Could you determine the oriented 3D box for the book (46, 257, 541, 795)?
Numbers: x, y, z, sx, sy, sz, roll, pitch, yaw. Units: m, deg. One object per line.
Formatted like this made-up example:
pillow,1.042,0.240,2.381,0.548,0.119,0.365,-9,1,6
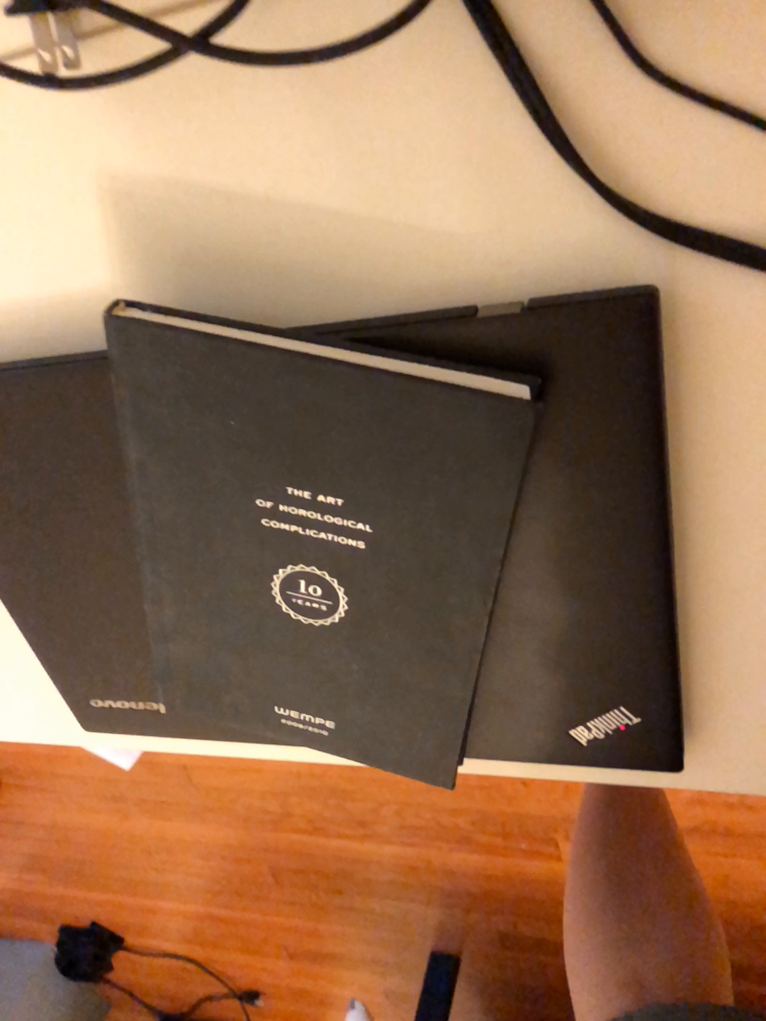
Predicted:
book,-0.040,0.019,0.357,0.170,0.030,0.221,13,128,10
